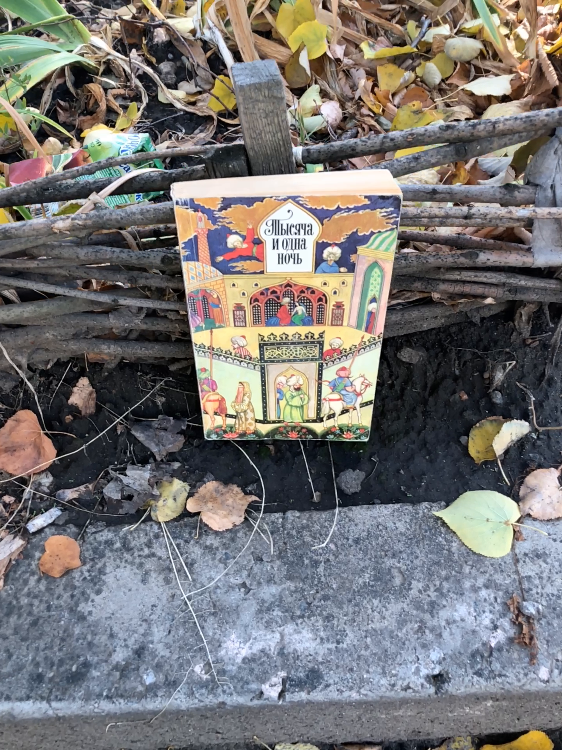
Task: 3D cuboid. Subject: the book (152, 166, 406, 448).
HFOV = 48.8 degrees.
[{"bbox_3d":[0.004,-0.029,0.369,0.122,0.182,0.029,0,42,4],"label":"book"}]
